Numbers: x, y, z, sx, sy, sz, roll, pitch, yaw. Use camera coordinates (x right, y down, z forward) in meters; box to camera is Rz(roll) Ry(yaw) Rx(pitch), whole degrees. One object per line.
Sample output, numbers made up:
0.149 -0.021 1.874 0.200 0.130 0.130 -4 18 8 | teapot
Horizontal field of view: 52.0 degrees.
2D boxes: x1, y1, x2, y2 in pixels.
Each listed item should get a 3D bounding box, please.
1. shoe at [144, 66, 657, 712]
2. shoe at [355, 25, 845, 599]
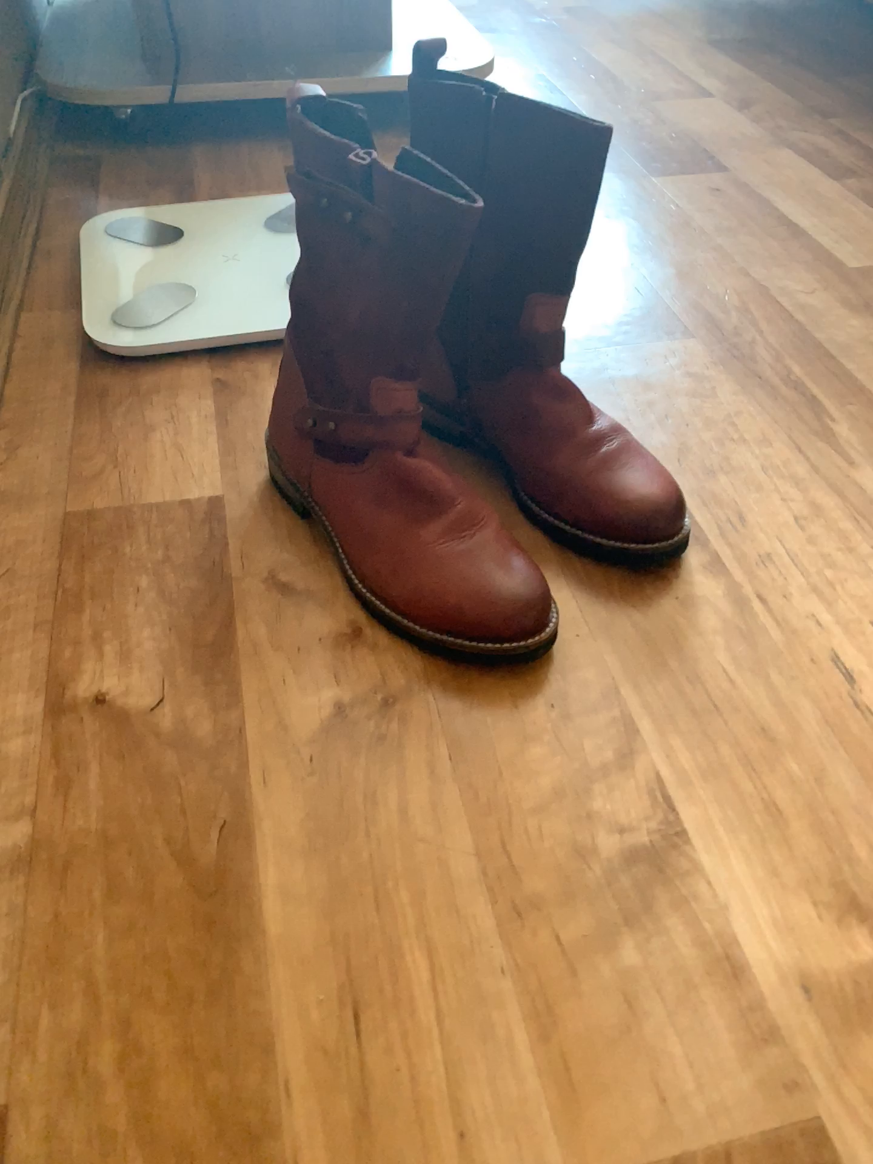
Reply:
-0.030 -0.109 0.492 0.100 0.249 0.251 -30 51 -28 | shoe
0.068 -0.163 0.533 0.090 0.239 0.251 -30 51 -28 | shoe
